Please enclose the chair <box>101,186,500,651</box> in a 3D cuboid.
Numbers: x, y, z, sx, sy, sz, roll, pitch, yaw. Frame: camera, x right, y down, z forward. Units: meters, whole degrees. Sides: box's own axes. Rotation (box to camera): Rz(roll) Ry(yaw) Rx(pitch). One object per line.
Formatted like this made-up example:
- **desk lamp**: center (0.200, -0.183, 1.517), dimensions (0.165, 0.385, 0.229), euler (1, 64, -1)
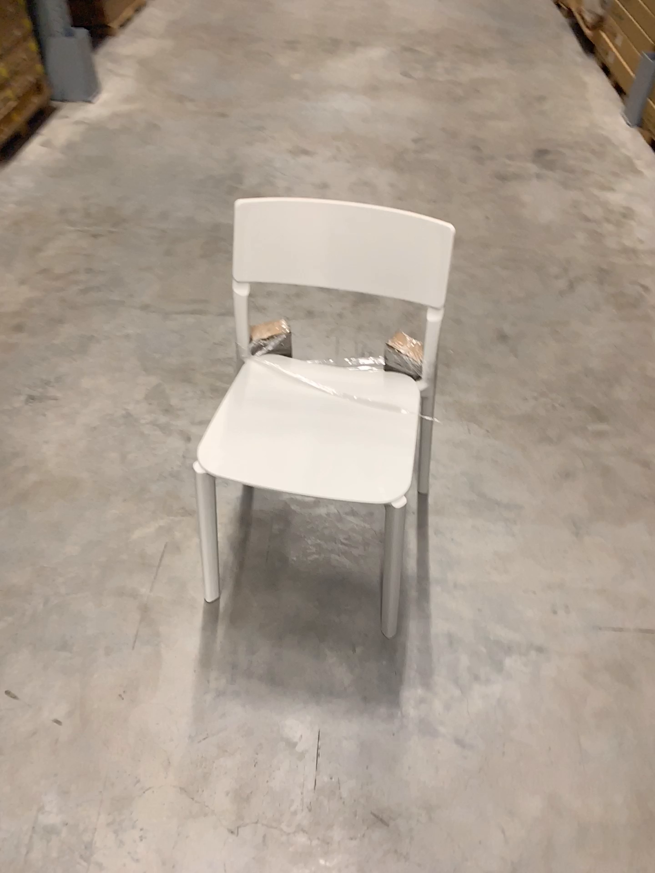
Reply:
- **chair**: center (-0.002, -0.030, 1.257), dimensions (0.520, 0.618, 0.532), euler (8, 46, 6)
